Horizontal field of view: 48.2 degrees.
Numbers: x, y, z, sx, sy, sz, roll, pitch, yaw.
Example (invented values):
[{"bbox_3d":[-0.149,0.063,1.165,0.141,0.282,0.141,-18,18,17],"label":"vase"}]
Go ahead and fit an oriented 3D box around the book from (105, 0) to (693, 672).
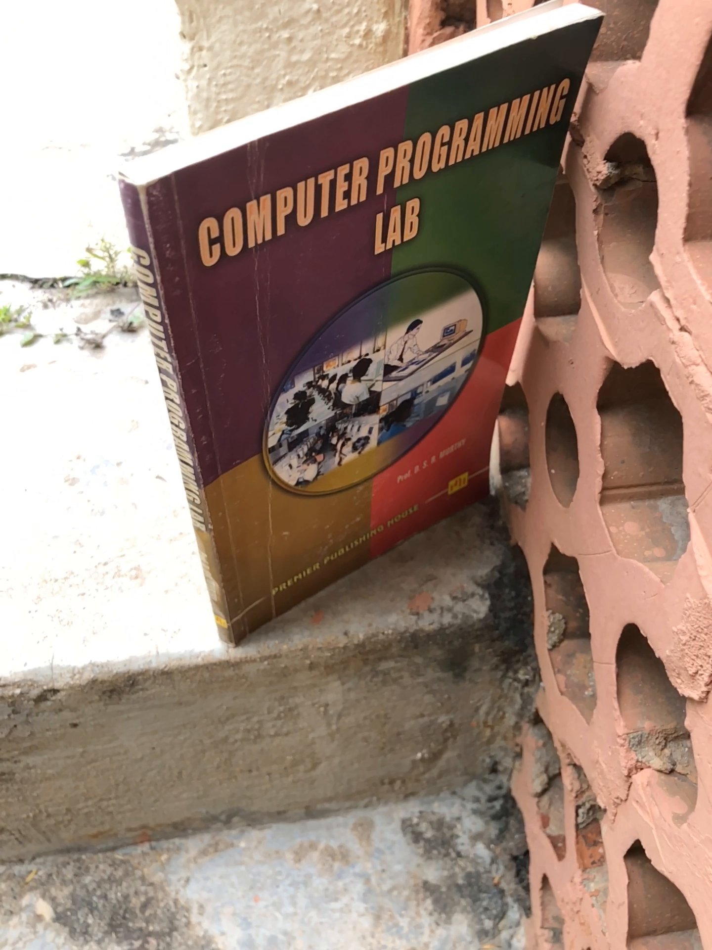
[{"bbox_3d":[0.016,-0.032,0.305,0.180,0.249,0.020,-30,61,-23],"label":"book"}]
